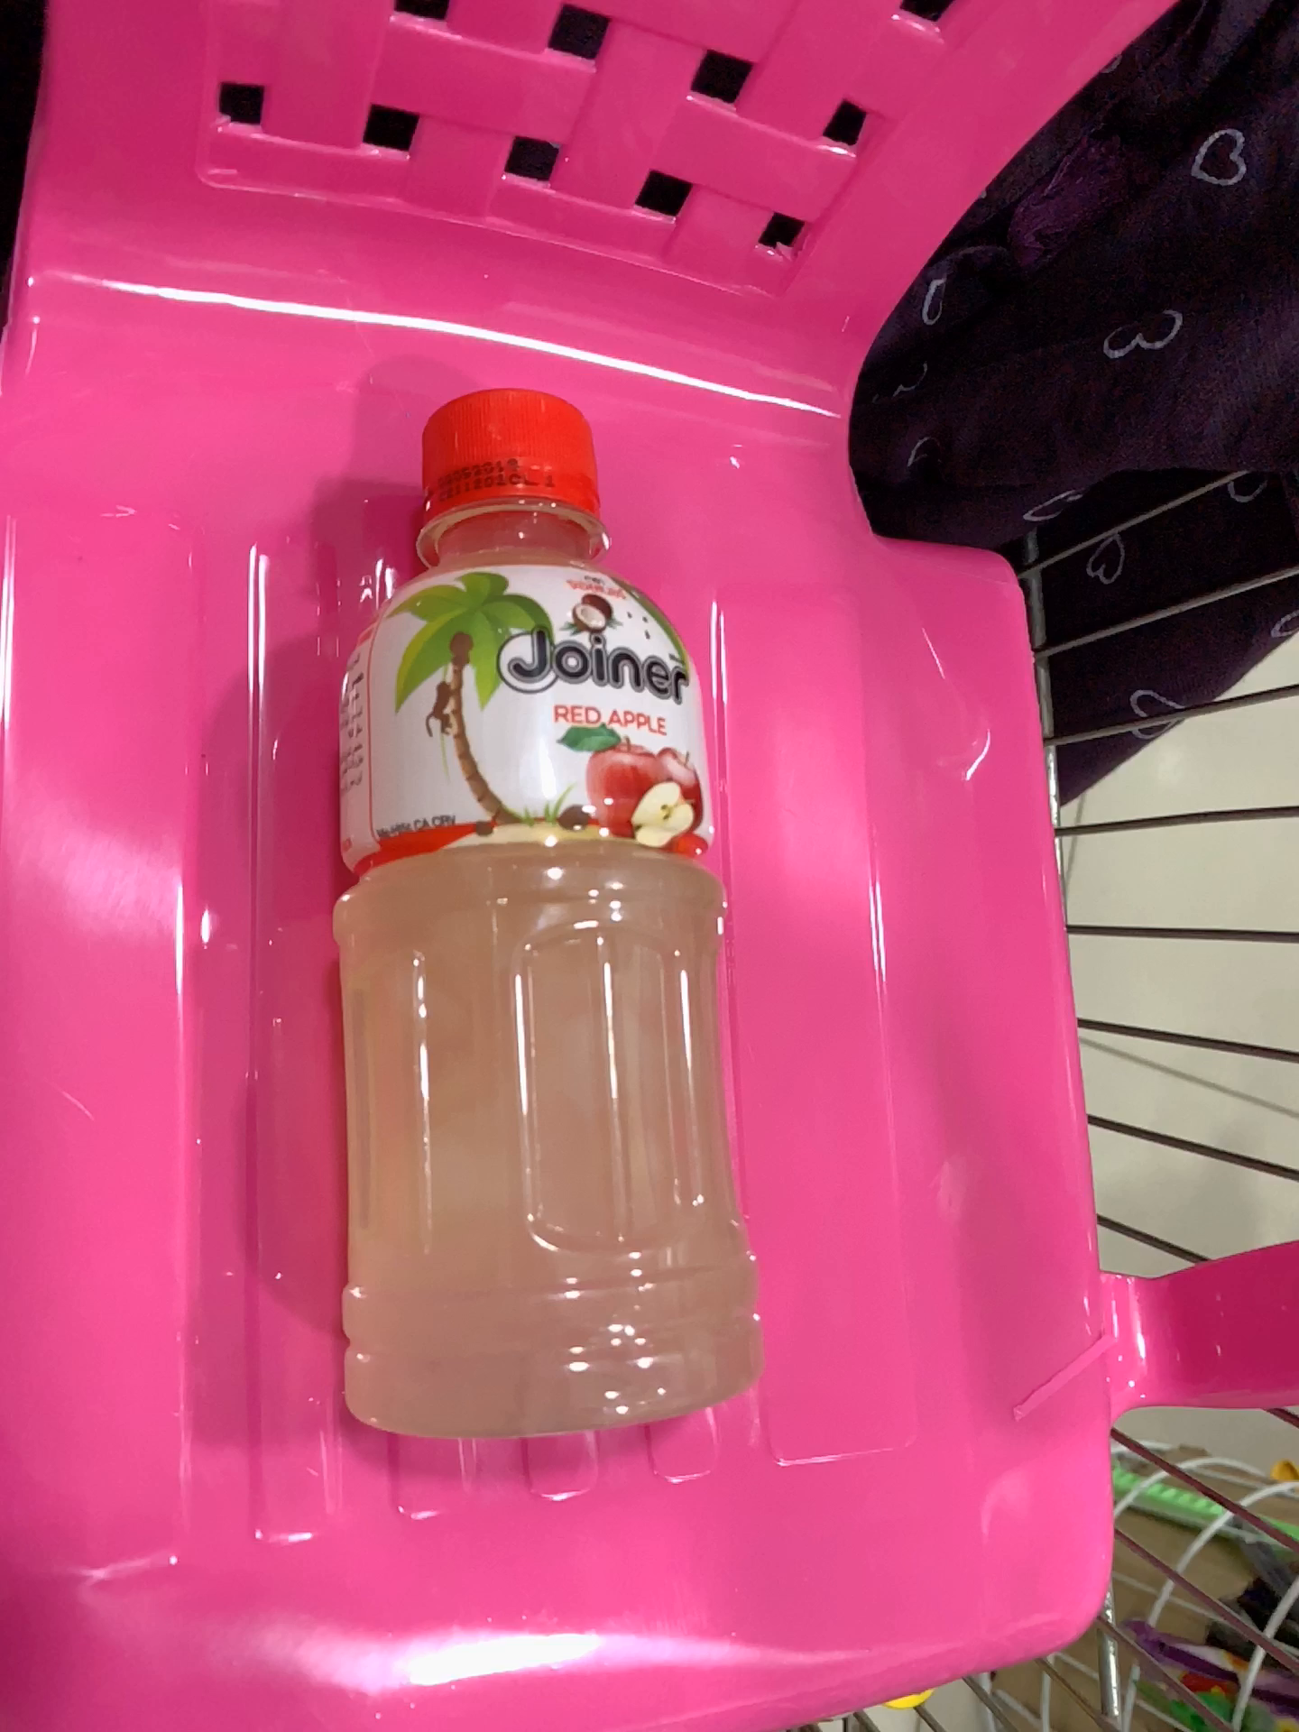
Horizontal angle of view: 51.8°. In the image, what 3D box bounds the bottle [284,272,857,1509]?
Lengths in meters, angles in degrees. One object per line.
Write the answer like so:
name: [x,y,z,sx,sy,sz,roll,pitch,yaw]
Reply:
bottle: [-0.016,0.002,0.209,0.070,0.050,0.160,1,81,-24]
